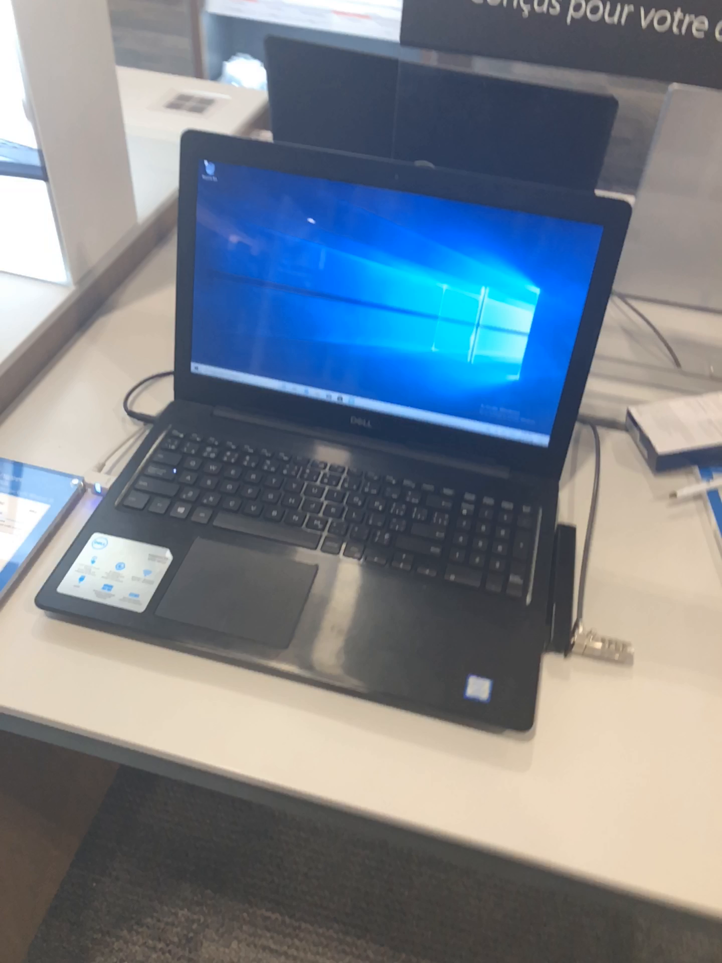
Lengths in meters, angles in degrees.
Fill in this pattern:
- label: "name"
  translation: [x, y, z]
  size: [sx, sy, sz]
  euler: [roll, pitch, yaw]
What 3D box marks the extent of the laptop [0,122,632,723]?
- label: "laptop"
  translation: [-0.016, -0.070, 0.612]
  size: [0.364, 0.224, 0.337]
  euler: [12, 47, 9]
